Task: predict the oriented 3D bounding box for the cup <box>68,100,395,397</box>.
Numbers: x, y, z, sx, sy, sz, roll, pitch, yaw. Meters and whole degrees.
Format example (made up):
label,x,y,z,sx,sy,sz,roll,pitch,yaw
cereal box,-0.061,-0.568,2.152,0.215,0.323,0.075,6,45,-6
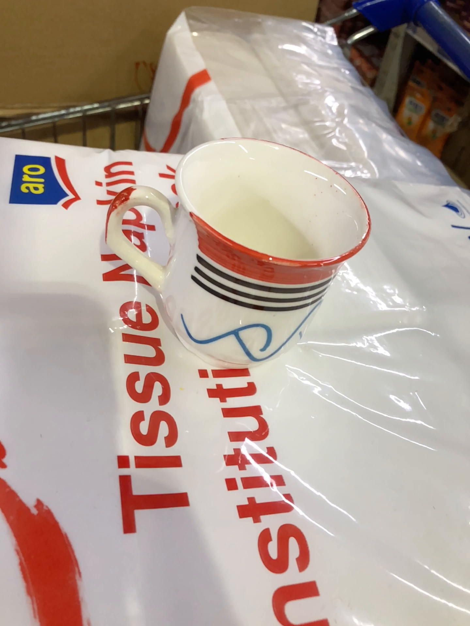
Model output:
label,x,y,z,sx,sy,sz,roll,pitch,yaw
cup,-0.006,-0.021,0.186,0.090,0.060,0.070,8,49,-11
